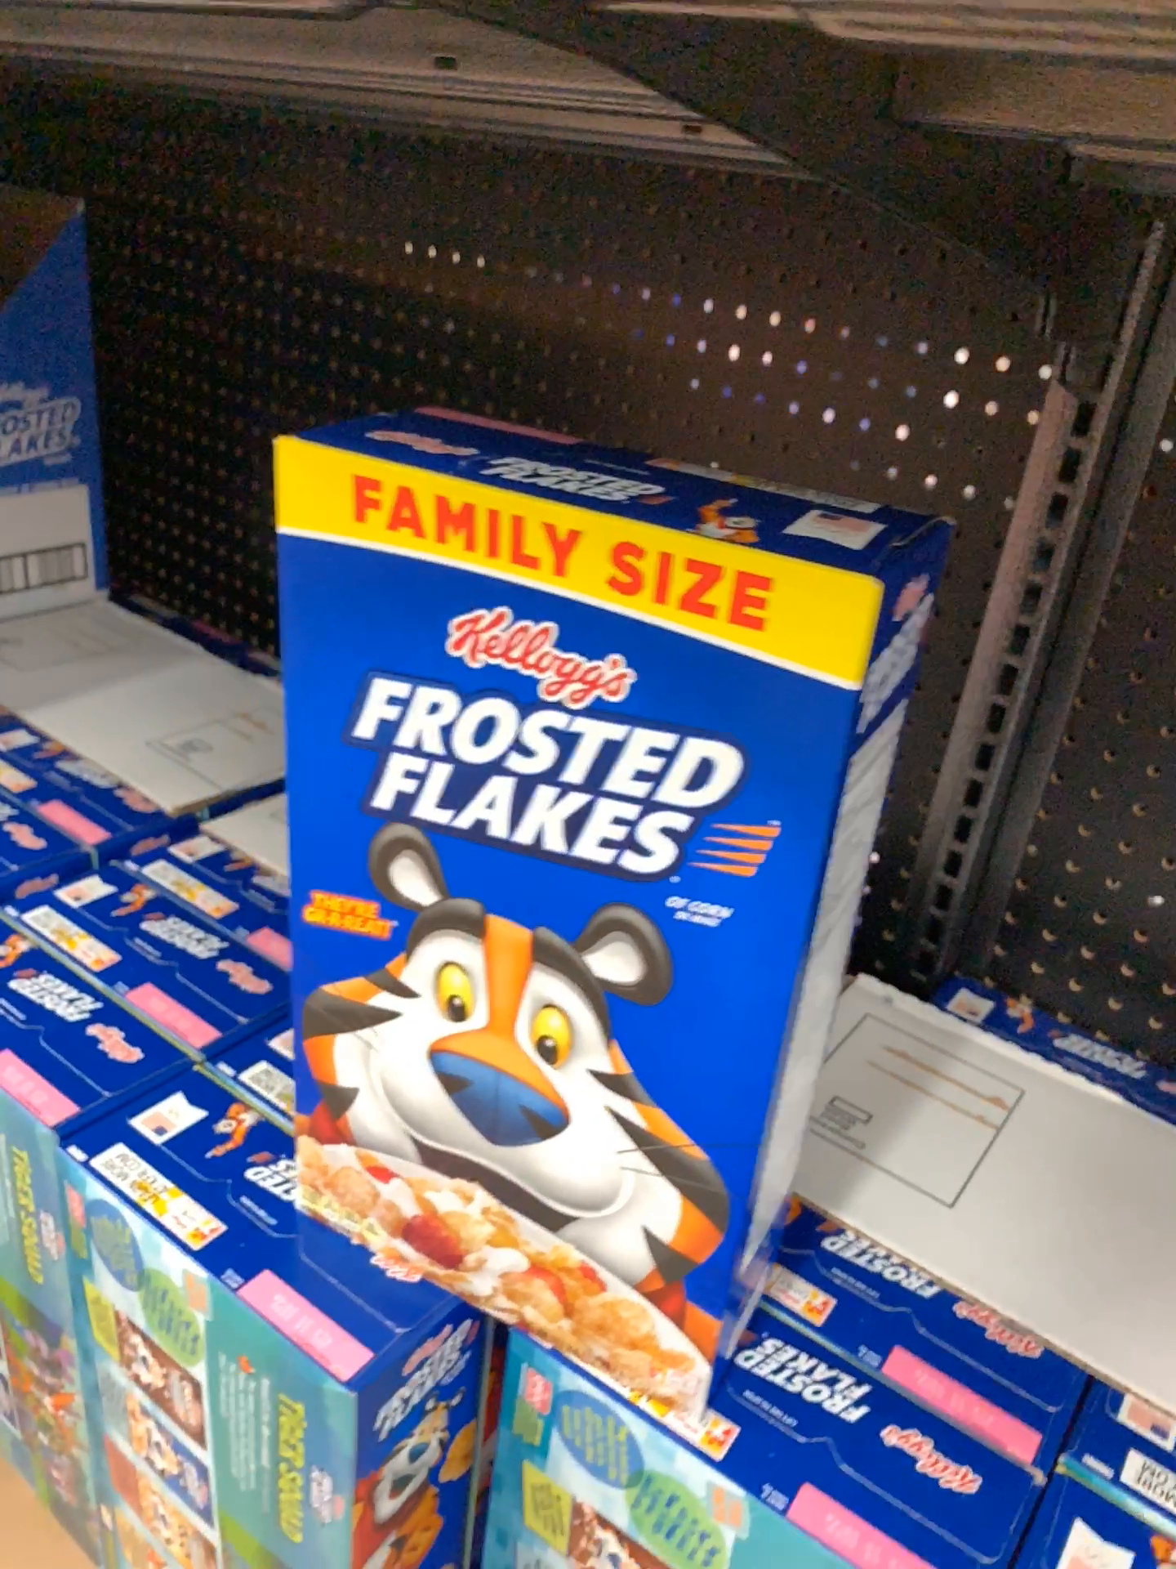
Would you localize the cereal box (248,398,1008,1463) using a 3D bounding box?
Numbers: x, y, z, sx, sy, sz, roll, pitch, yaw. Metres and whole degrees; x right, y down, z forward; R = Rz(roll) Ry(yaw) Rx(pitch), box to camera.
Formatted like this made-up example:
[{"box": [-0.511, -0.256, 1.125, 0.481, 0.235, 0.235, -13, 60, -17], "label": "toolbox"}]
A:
[{"box": [-0.007, 0.052, 0.429, 0.210, 0.318, 0.080, 20, 31, 24], "label": "cereal box"}]
